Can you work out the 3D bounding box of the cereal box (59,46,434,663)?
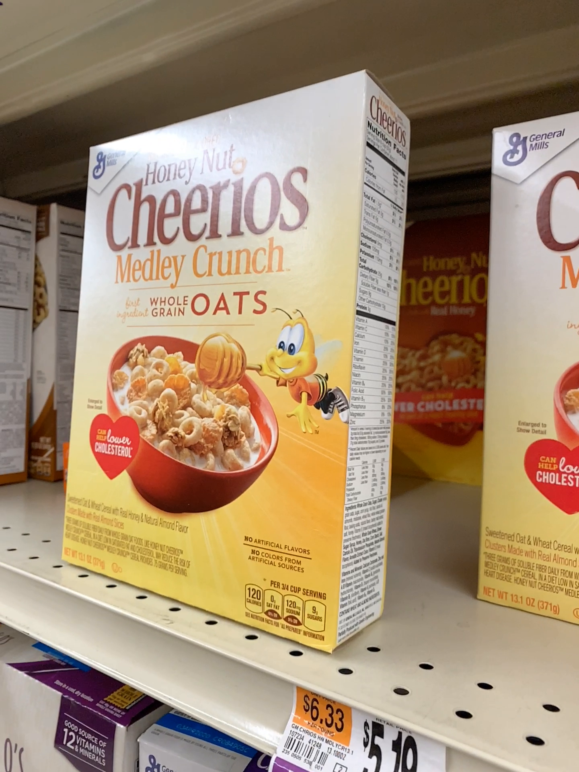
[{"bbox_3d":[-0.031,-0.017,0.321,0.190,0.250,0.060,2,-2,35],"label":"cereal box"}]
